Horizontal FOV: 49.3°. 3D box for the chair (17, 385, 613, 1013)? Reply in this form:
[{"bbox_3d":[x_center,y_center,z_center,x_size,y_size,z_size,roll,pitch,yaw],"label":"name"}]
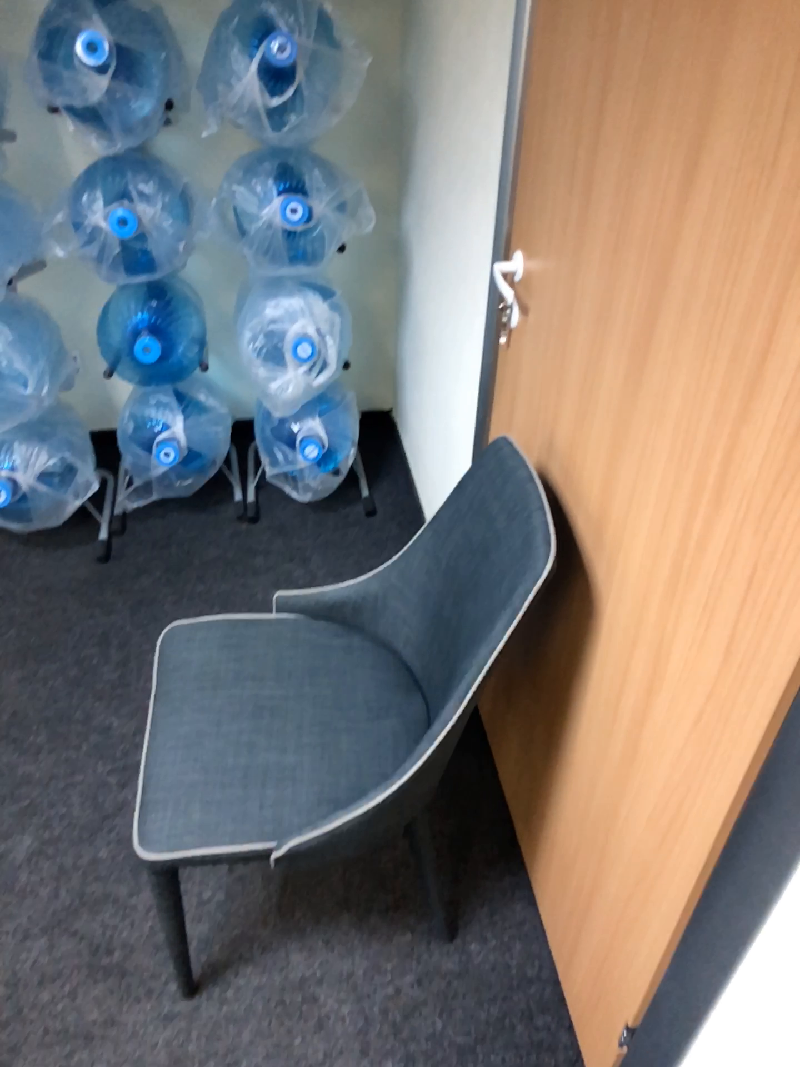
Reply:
[{"bbox_3d":[-0.121,0.280,1.405,0.640,0.845,0.523,-4,40,-6],"label":"chair"}]
